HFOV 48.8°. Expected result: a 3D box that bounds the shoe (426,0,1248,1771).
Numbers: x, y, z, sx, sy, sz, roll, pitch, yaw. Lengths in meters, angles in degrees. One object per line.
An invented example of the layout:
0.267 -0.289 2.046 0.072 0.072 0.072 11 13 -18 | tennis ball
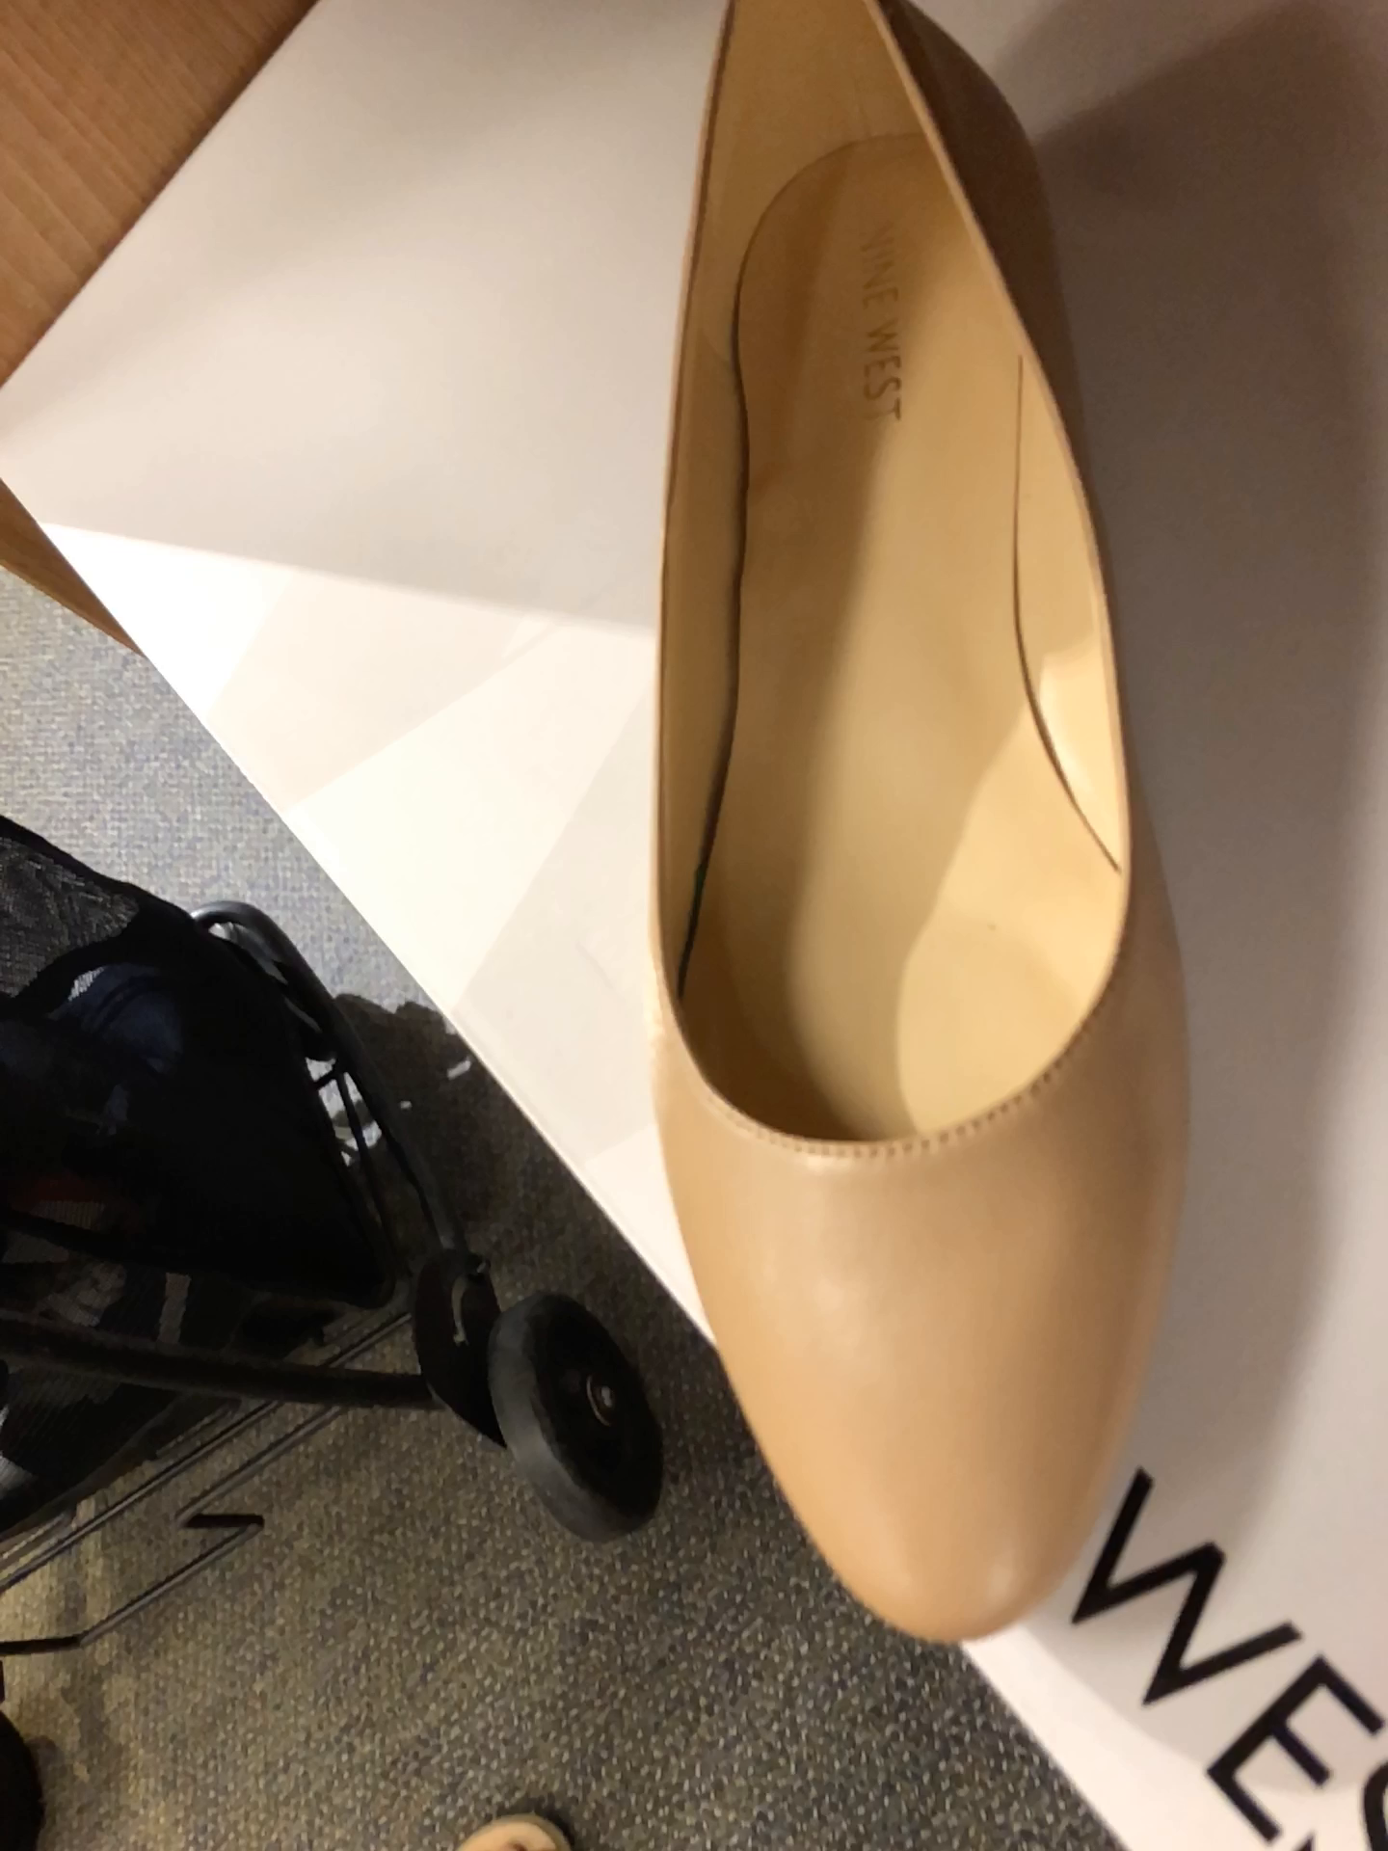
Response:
0.020 -0.036 0.229 0.082 0.070 0.270 -9 72 26 | shoe
